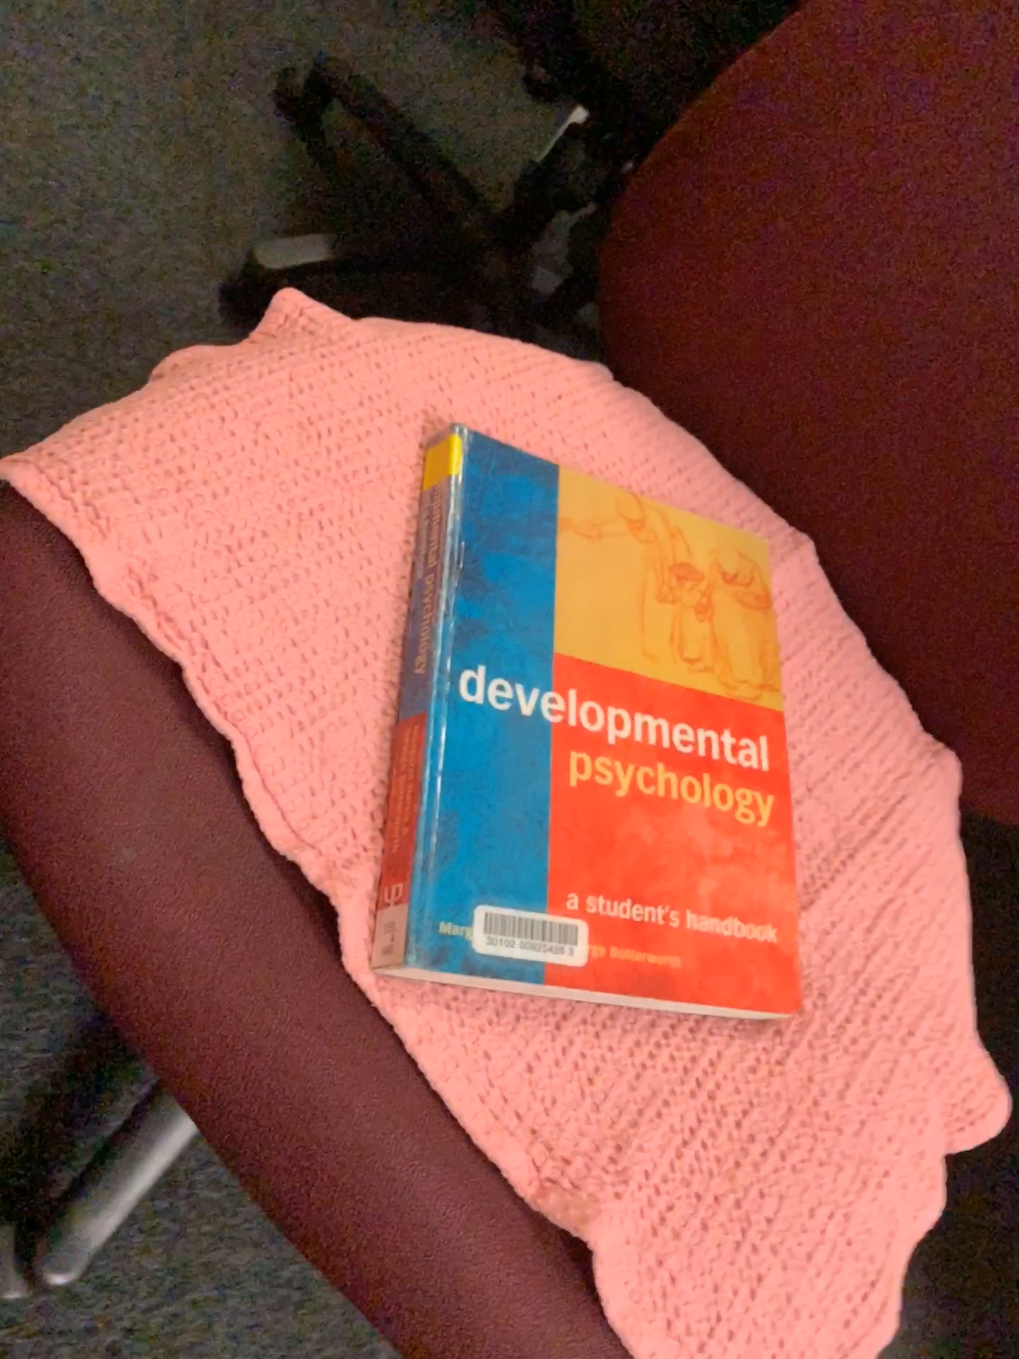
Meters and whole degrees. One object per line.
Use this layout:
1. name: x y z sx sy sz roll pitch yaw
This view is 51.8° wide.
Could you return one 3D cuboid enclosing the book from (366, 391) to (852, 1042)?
1. book: 0.049 0.019 0.479 0.210 0.040 0.262 15 60 -27
